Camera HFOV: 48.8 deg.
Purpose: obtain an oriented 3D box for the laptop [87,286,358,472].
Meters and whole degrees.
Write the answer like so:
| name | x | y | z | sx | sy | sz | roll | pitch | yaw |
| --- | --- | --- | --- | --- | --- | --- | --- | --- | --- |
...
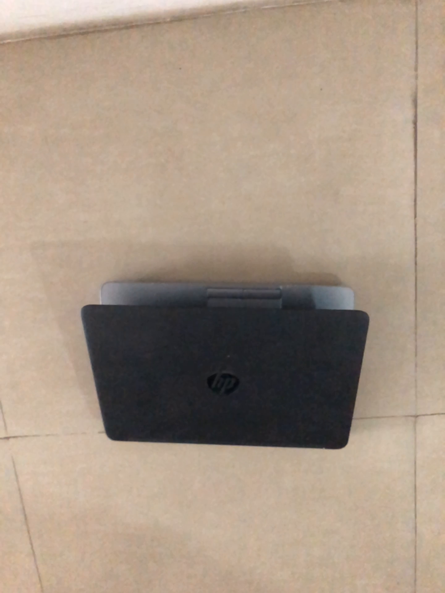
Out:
| name | x | y | z | sx | sy | sz | roll | pitch | yaw |
| --- | --- | --- | --- | --- | --- | --- | --- | --- | --- |
| laptop | 0.001 | 0.102 | 0.624 | 0.304 | 0.085 | 0.214 | 1 | 107 | 3 |
